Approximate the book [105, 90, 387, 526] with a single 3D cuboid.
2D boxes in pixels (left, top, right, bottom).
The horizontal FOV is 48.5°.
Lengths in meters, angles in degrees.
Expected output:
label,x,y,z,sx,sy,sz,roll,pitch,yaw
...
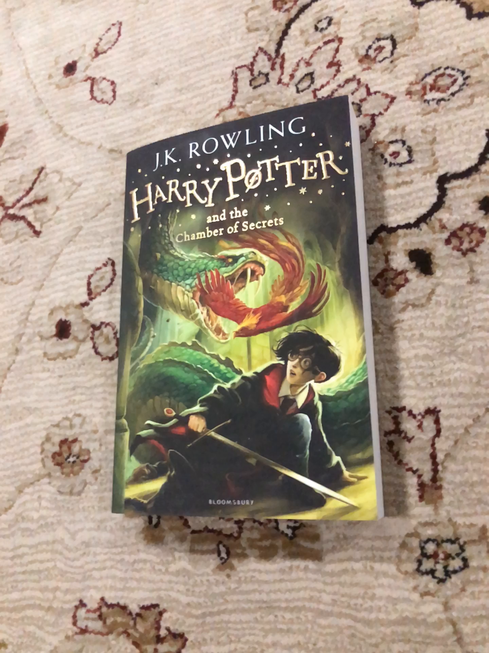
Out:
label,x,y,z,sx,sy,sz,roll,pitch,yaw
book,-0.004,-0.008,0.279,0.131,0.030,0.200,-7,75,23
